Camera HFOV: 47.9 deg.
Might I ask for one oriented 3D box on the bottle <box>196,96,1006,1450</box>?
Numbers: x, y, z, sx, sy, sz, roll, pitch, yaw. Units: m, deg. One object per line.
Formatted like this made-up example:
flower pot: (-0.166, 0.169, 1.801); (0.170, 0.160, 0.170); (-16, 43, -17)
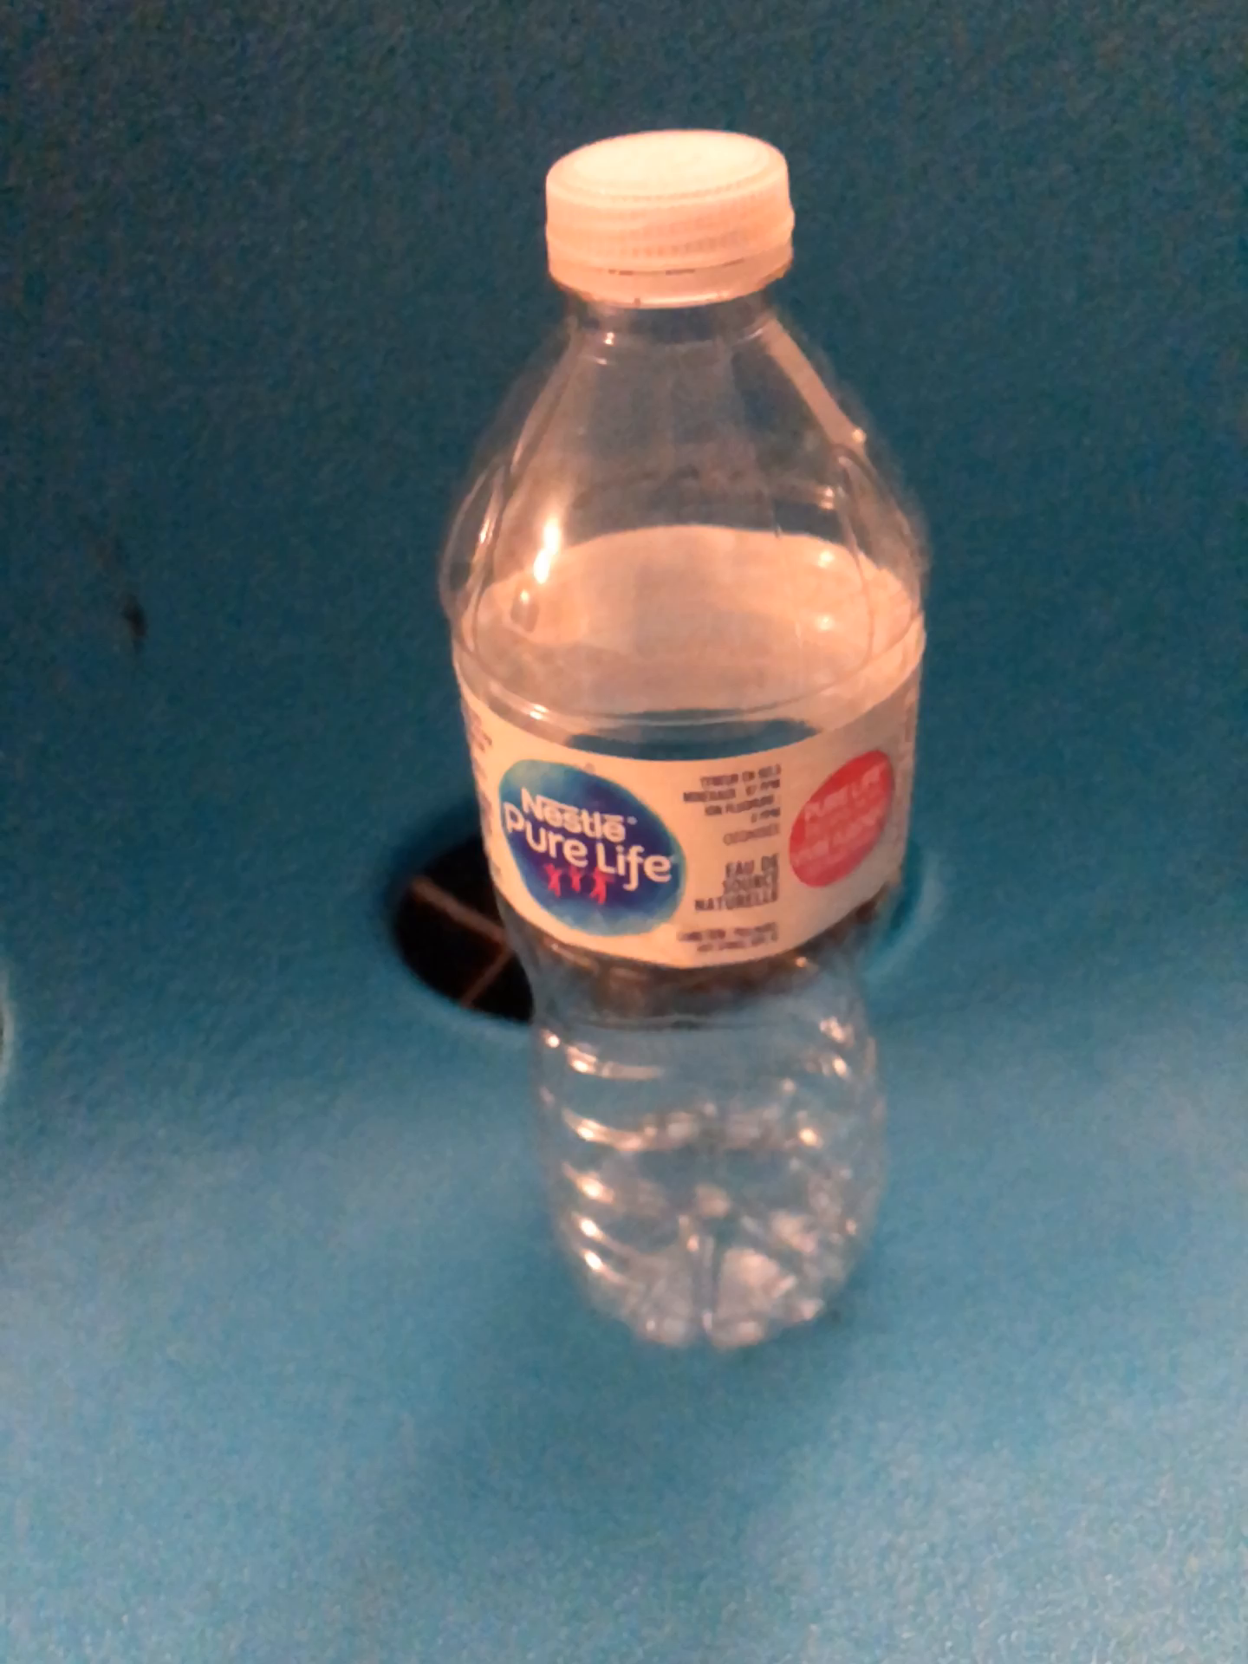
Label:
bottle: (0.006, -0.003, 0.217); (0.070, 0.189, 0.070); (-3, 34, 2)
